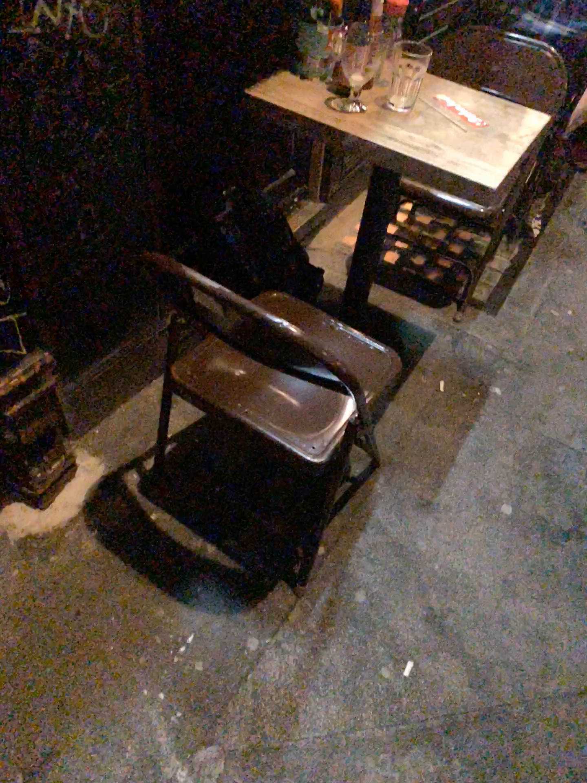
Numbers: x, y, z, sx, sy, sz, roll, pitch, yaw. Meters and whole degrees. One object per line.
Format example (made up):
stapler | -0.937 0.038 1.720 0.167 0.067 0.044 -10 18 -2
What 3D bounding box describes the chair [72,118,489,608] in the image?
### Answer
chair | -0.029 -0.051 1.215 0.491 0.723 0.484 28 48 20
